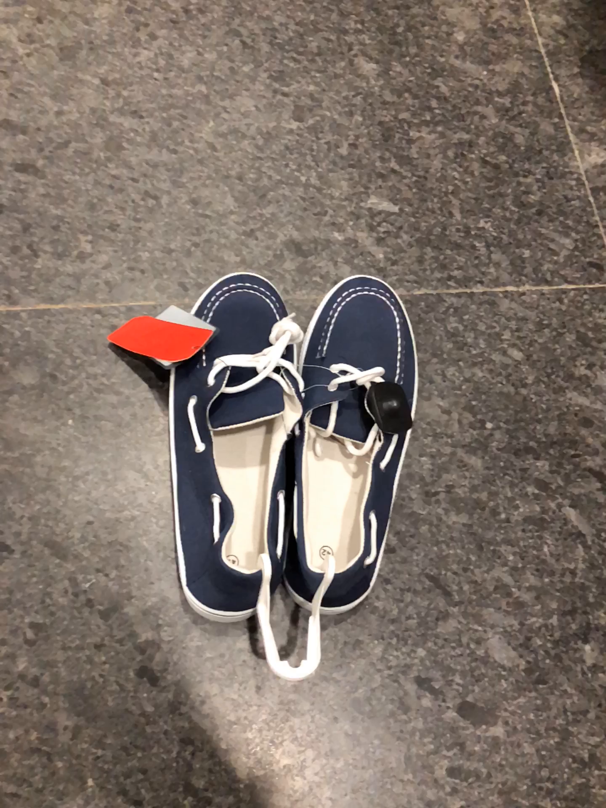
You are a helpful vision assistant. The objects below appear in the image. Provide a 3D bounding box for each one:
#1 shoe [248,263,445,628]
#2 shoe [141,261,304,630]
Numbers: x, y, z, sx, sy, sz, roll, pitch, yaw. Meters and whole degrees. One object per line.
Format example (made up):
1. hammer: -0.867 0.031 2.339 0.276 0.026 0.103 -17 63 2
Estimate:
1. shoe: 0.034 0.035 0.521 0.096 0.115 0.247 13 67 -5
2. shoe: -0.057 0.035 0.502 0.096 0.115 0.249 4 68 -9
